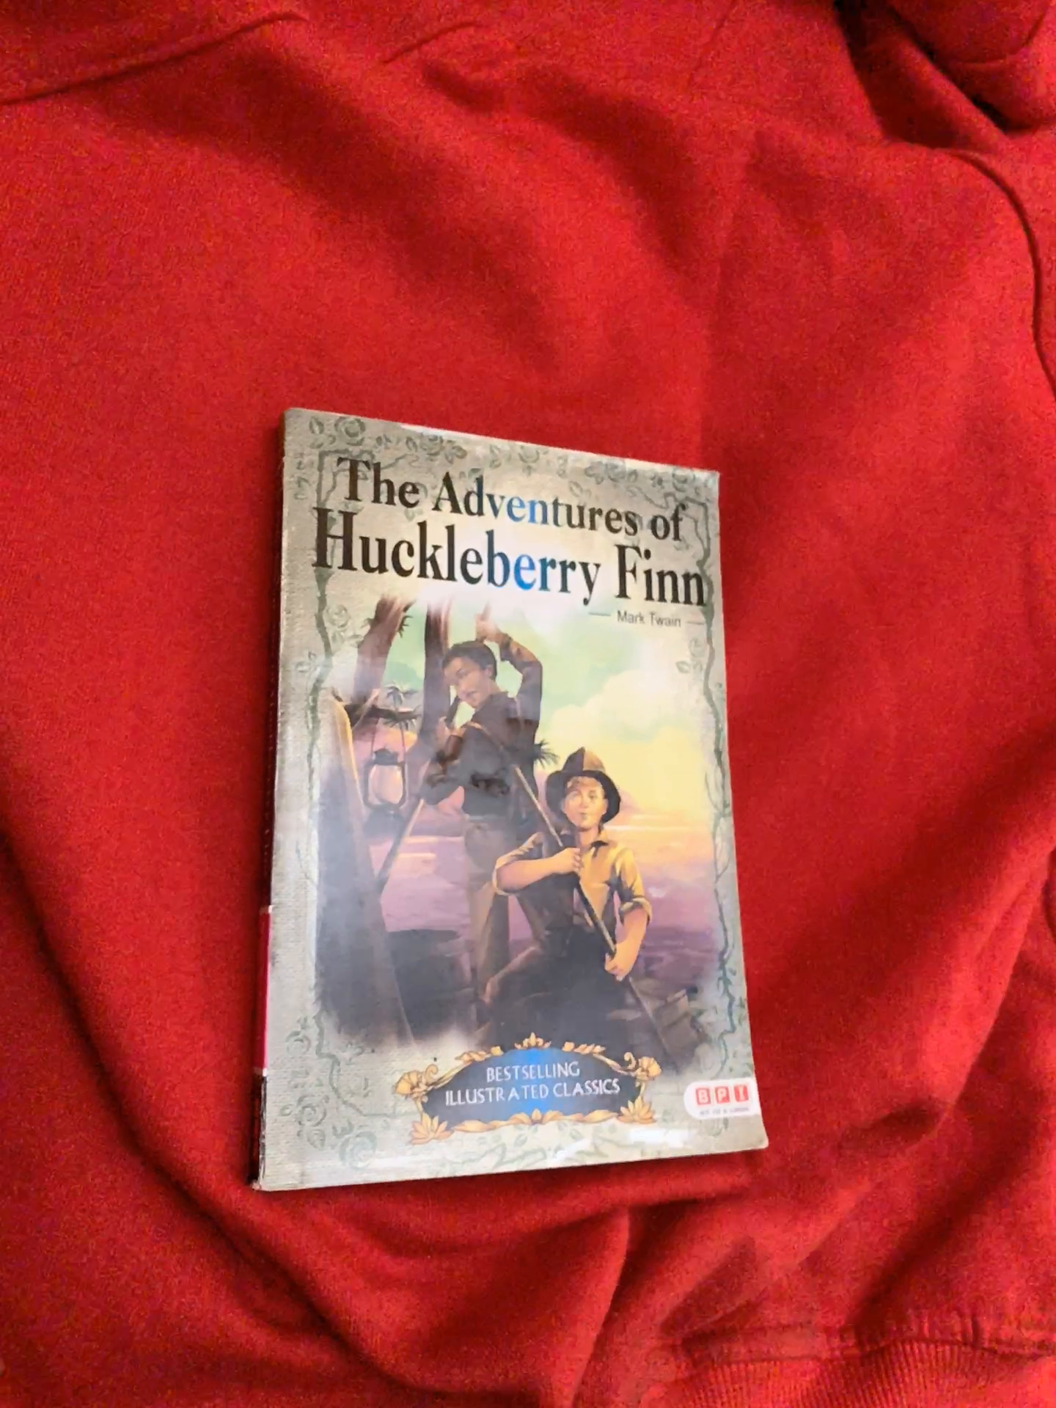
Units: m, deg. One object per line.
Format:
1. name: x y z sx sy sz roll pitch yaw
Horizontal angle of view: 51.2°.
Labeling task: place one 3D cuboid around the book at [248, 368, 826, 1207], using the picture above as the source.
1. book: 0.003 0.016 0.266 0.130 0.020 0.180 4 75 -21
